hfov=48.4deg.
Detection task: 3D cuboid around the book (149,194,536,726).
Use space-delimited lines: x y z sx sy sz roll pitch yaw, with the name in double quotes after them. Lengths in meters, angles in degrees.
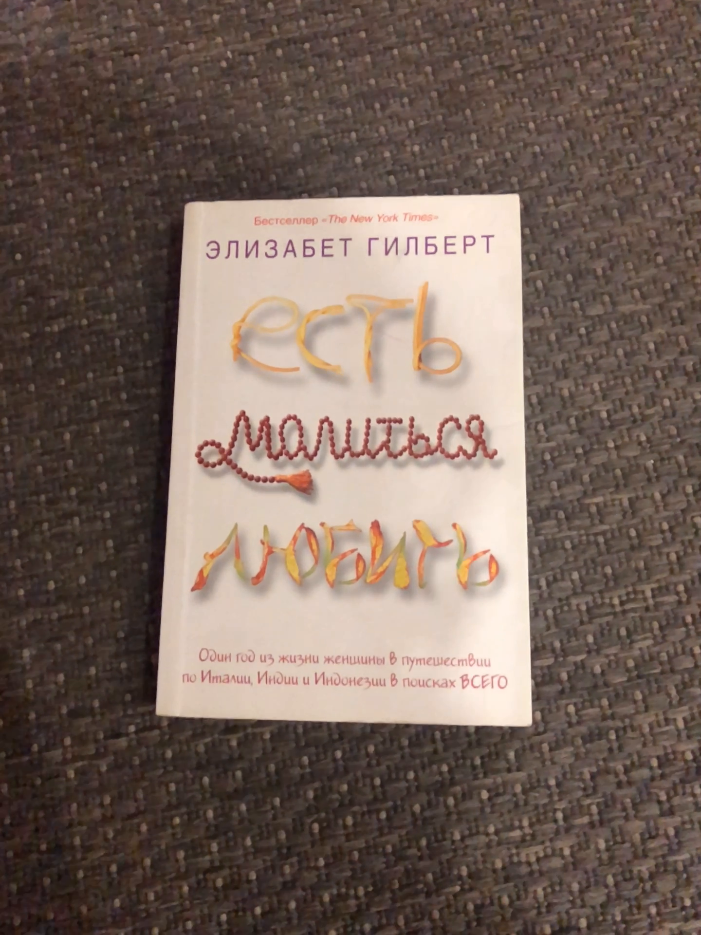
-0.001 -0.006 0.326 0.142 0.041 0.210 0 79 3 "book"
